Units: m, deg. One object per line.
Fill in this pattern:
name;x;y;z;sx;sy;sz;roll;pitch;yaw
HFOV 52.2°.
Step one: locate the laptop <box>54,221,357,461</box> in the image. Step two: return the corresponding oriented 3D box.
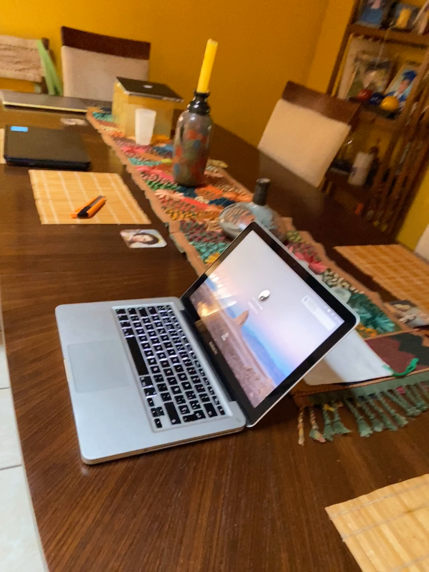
laptop;-0.046;0.047;0.690;0.358;0.171;0.326;-3;33;-25
